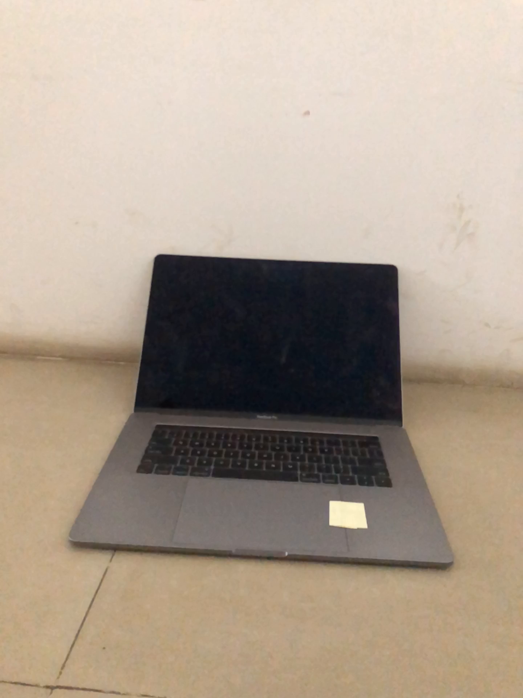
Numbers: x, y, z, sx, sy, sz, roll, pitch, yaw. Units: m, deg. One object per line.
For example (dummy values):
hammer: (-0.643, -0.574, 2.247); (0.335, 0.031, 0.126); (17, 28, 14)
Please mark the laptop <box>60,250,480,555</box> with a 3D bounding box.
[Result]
laptop: (0.008, 0.021, 0.654); (0.329, 0.162, 0.382); (3, 23, 1)
